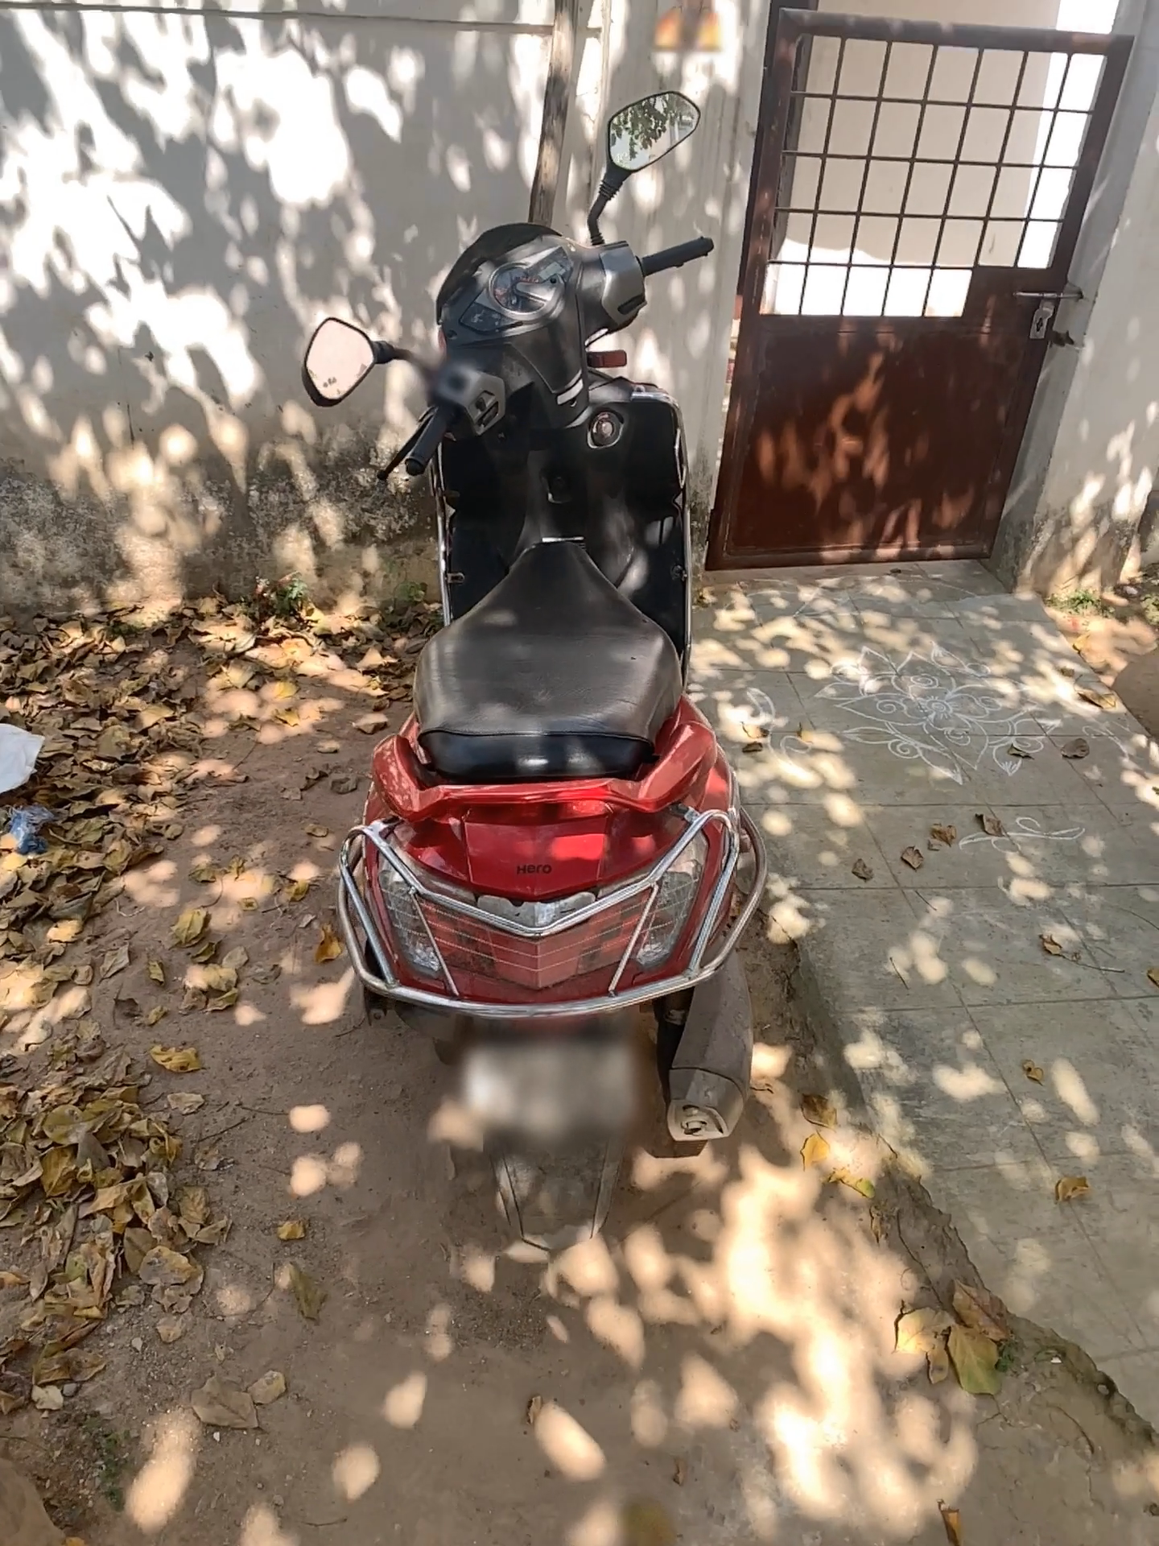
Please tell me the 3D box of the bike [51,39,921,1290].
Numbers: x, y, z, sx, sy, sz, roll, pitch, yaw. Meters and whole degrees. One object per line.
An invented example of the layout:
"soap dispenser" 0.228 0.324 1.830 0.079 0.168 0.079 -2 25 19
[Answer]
"bike" -0.258 -0.351 1.975 0.735 1.155 1.767 -3 39 -10
